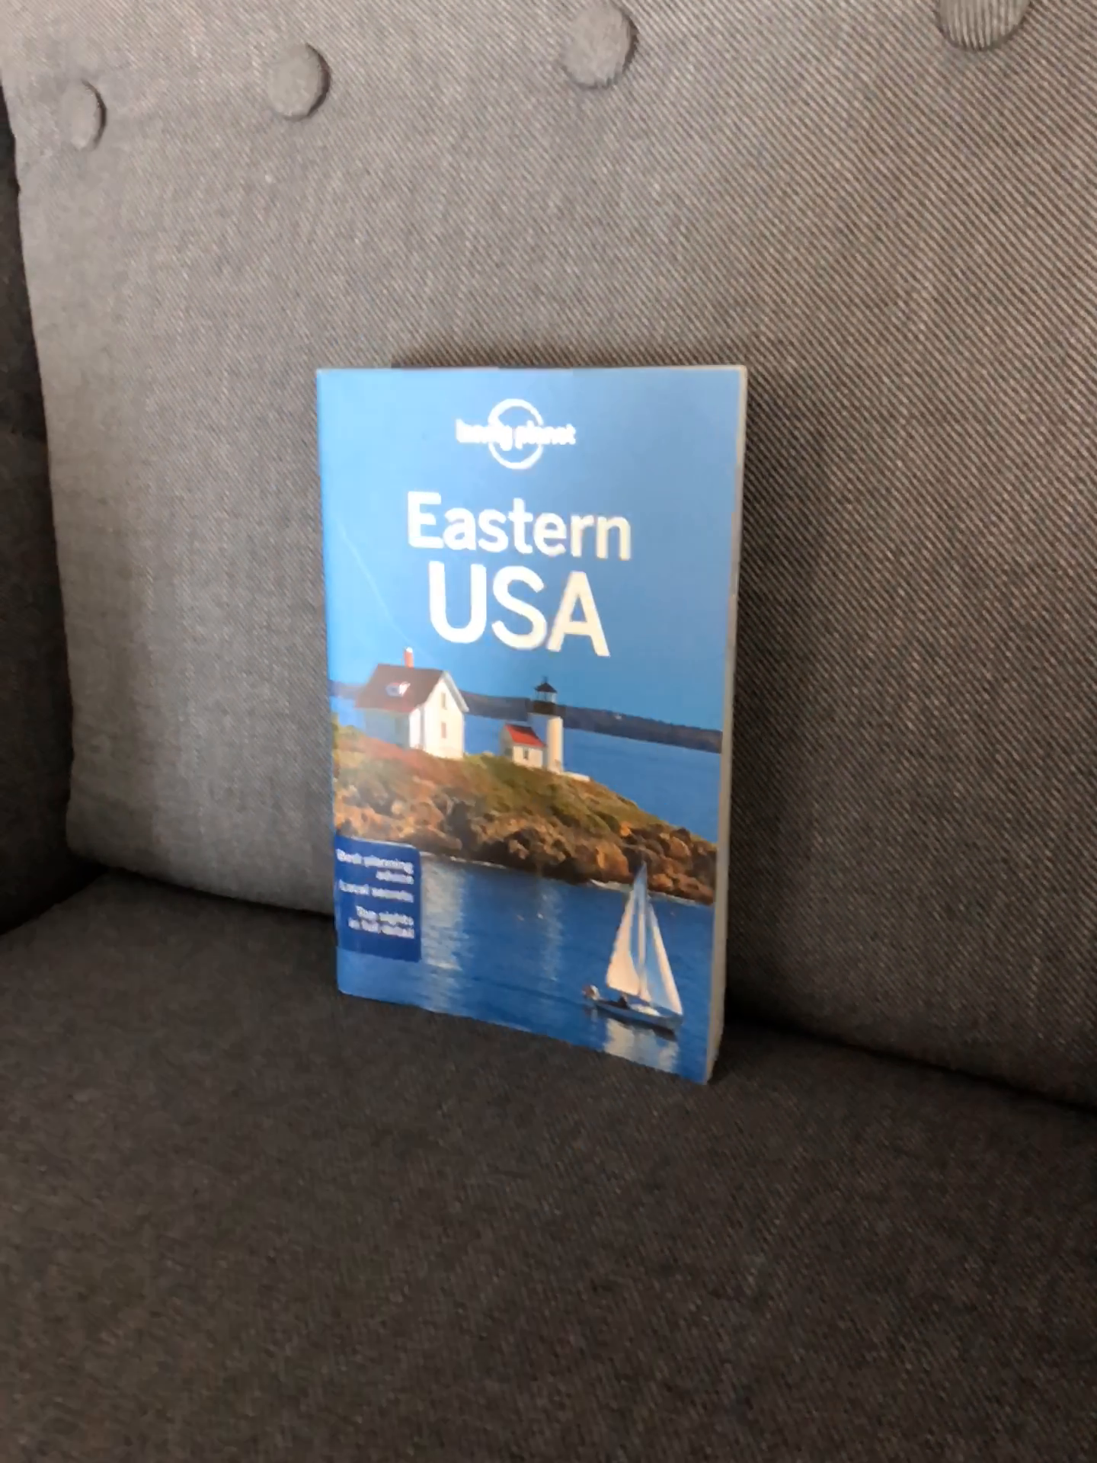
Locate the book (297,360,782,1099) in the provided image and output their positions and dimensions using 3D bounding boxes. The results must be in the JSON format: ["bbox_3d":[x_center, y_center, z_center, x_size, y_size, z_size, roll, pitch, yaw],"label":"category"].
[{"bbox_3d":[-0.006,-0.006,0.368,0.135,0.200,0.039,8,16,28],"label":"book"}]
